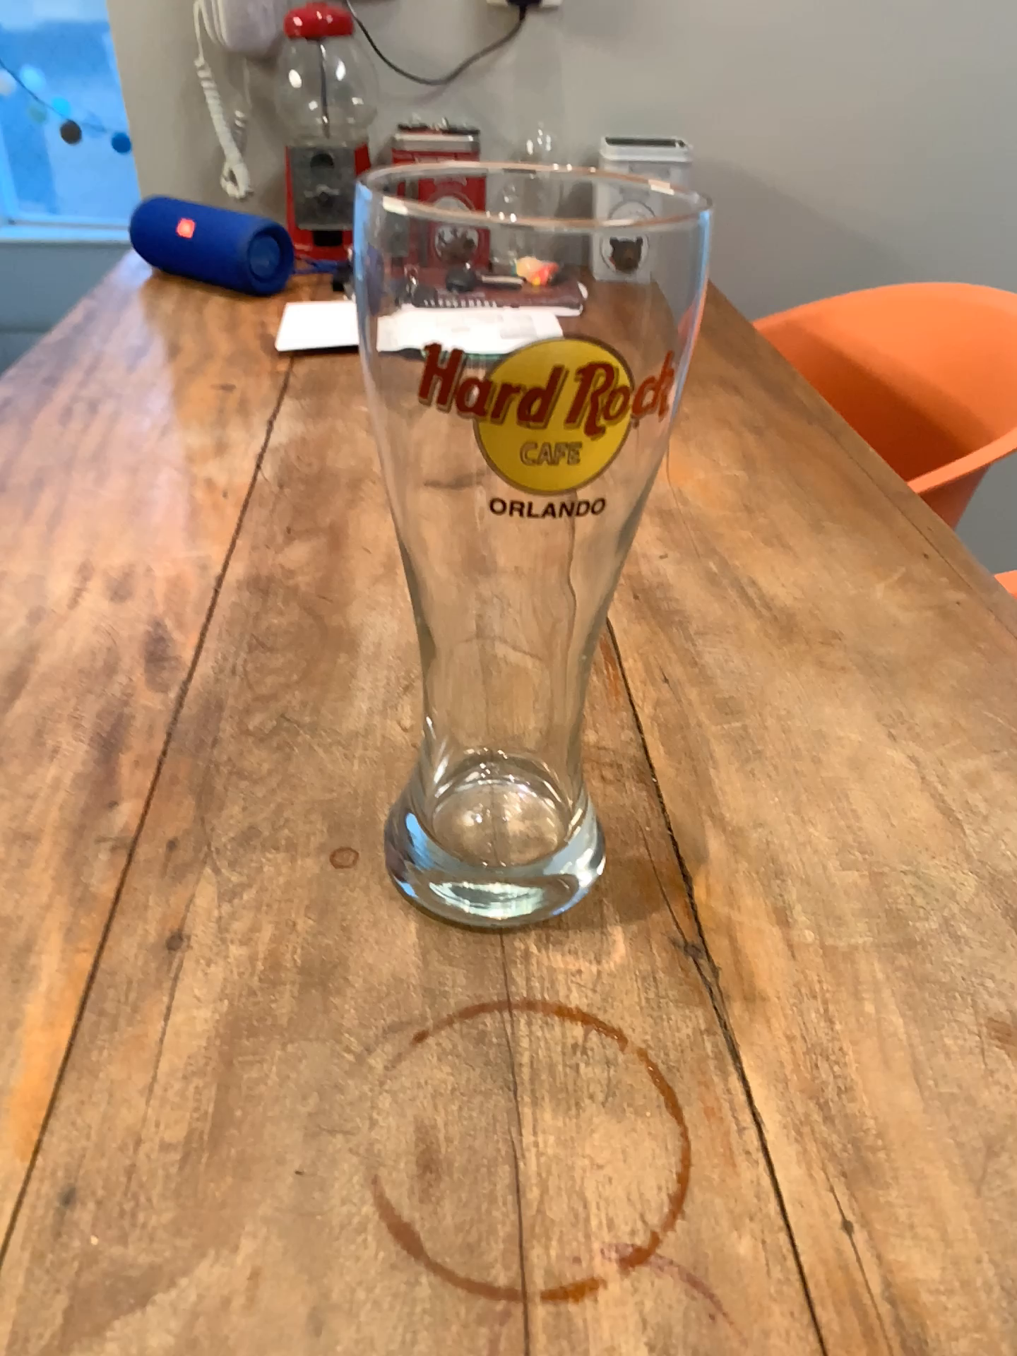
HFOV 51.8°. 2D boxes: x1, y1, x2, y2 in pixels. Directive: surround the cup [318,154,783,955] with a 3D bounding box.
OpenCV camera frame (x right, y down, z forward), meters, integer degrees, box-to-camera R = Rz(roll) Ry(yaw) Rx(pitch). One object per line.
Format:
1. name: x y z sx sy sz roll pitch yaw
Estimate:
1. cup: 0.002 -0.029 0.298 0.090 0.201 0.091 1 35 0
